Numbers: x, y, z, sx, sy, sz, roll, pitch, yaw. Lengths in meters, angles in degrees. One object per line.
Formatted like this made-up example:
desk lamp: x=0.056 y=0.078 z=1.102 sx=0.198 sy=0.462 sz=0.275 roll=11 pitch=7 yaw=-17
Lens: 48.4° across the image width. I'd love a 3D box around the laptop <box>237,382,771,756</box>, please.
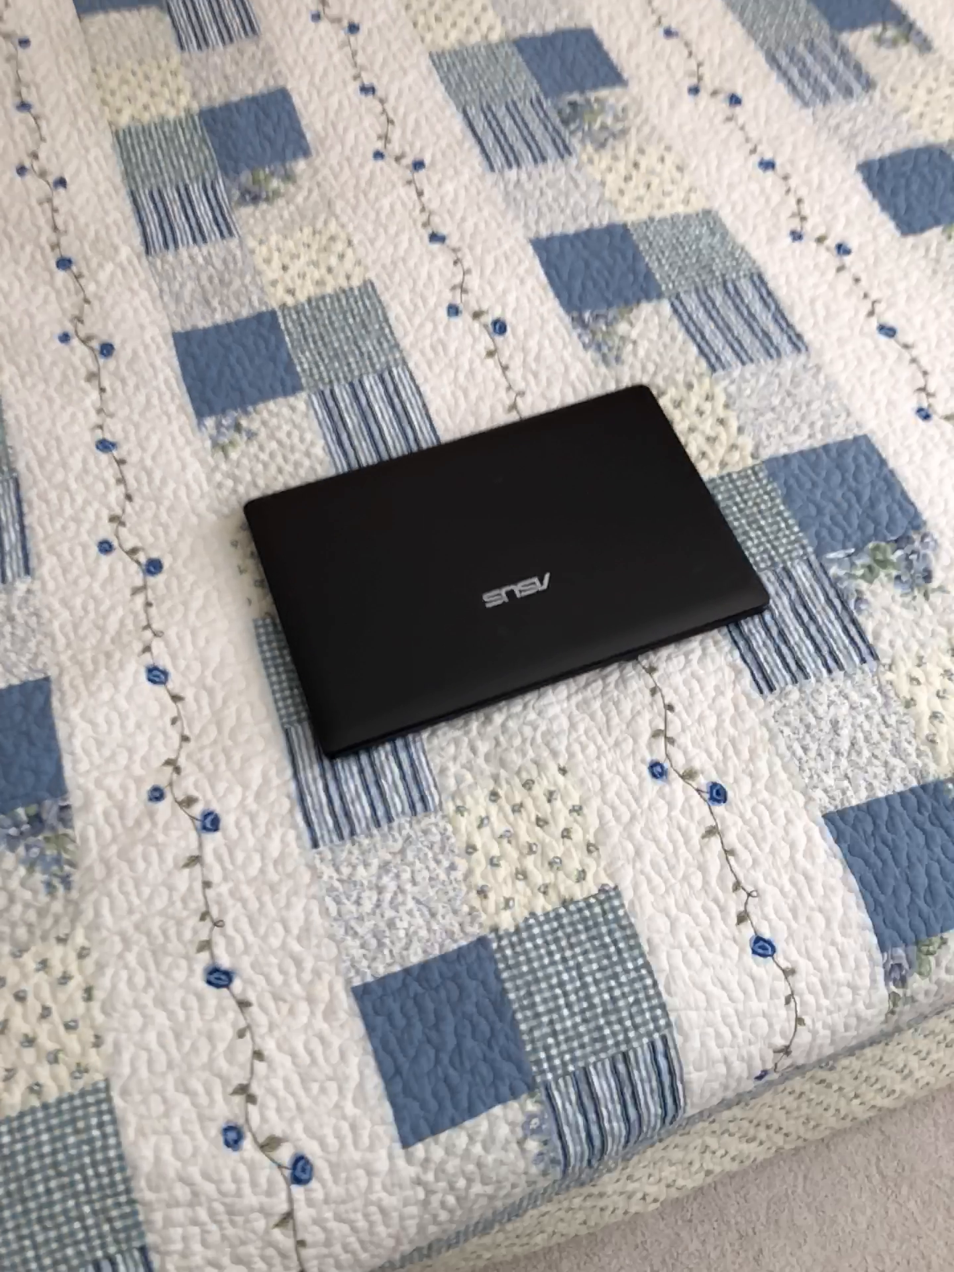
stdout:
laptop: x=0.016 y=-0.067 z=0.859 sx=0.369 sy=0.006 sz=0.235 roll=-19 pitch=64 yaw=-9
